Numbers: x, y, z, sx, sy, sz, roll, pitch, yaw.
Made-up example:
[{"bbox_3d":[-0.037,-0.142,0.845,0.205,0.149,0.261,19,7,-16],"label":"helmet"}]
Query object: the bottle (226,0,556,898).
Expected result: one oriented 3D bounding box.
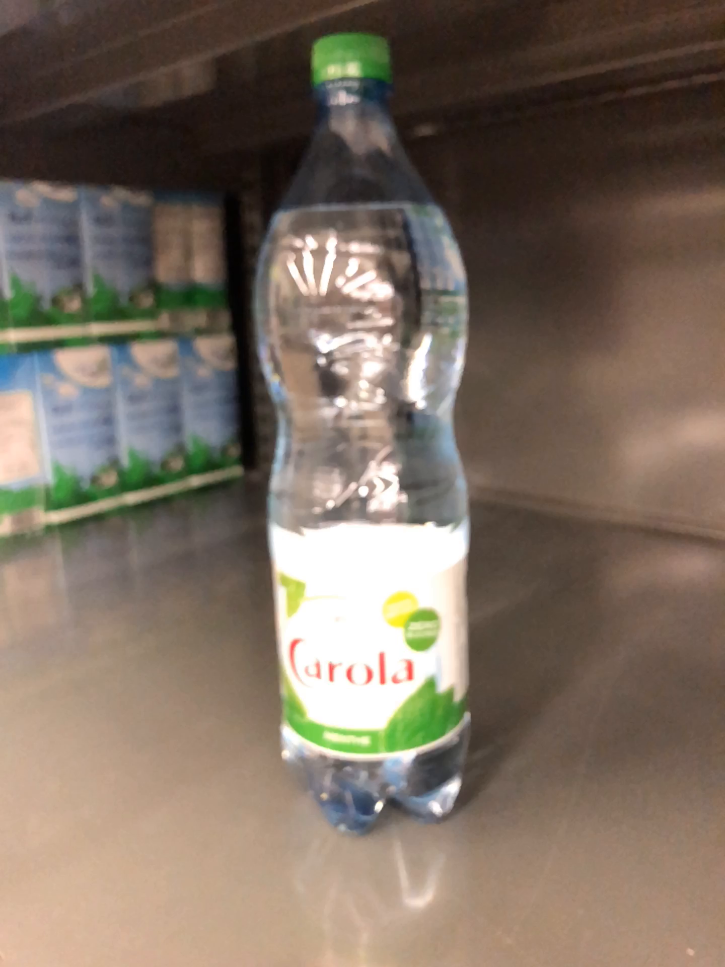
[{"bbox_3d":[0.023,-0.015,0.351,0.100,0.339,0.100,-2,13,0],"label":"bottle"}]
